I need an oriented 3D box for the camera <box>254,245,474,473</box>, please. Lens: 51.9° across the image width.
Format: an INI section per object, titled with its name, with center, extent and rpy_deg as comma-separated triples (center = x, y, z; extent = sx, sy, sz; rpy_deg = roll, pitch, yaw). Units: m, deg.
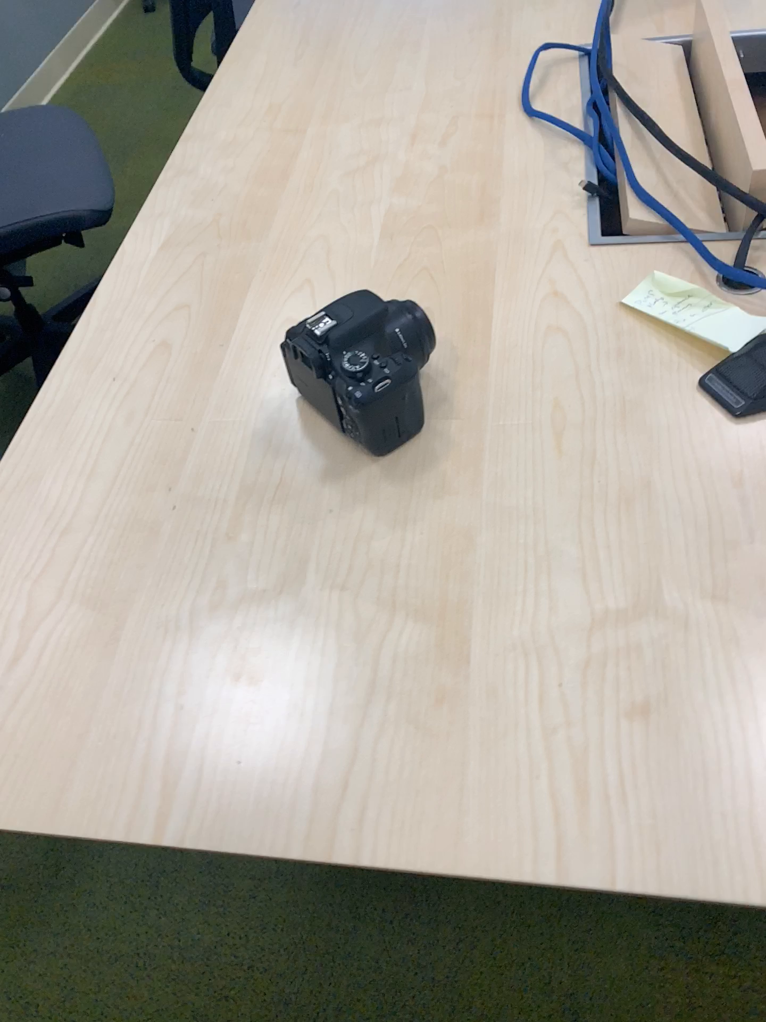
[camera]
center = -0.014, -0.136, 0.693
extent = 0.123, 0.100, 0.141
rpy_deg = -34, 55, -18
